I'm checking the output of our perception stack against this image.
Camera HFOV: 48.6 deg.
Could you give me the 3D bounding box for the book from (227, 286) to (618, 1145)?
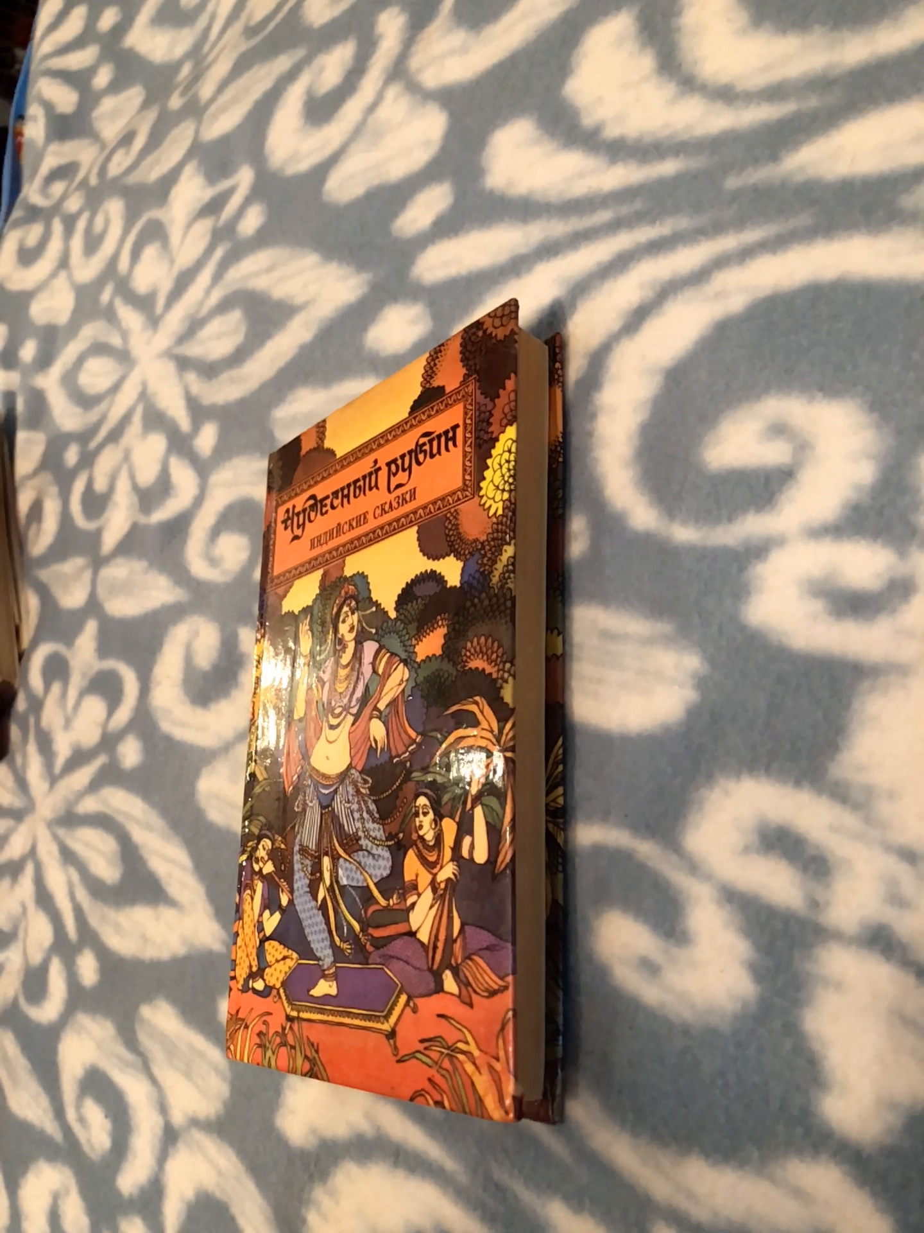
[{"bbox_3d":[-0.019,0.028,0.308,0.140,0.027,0.210,-18,66,48],"label":"book"}]
